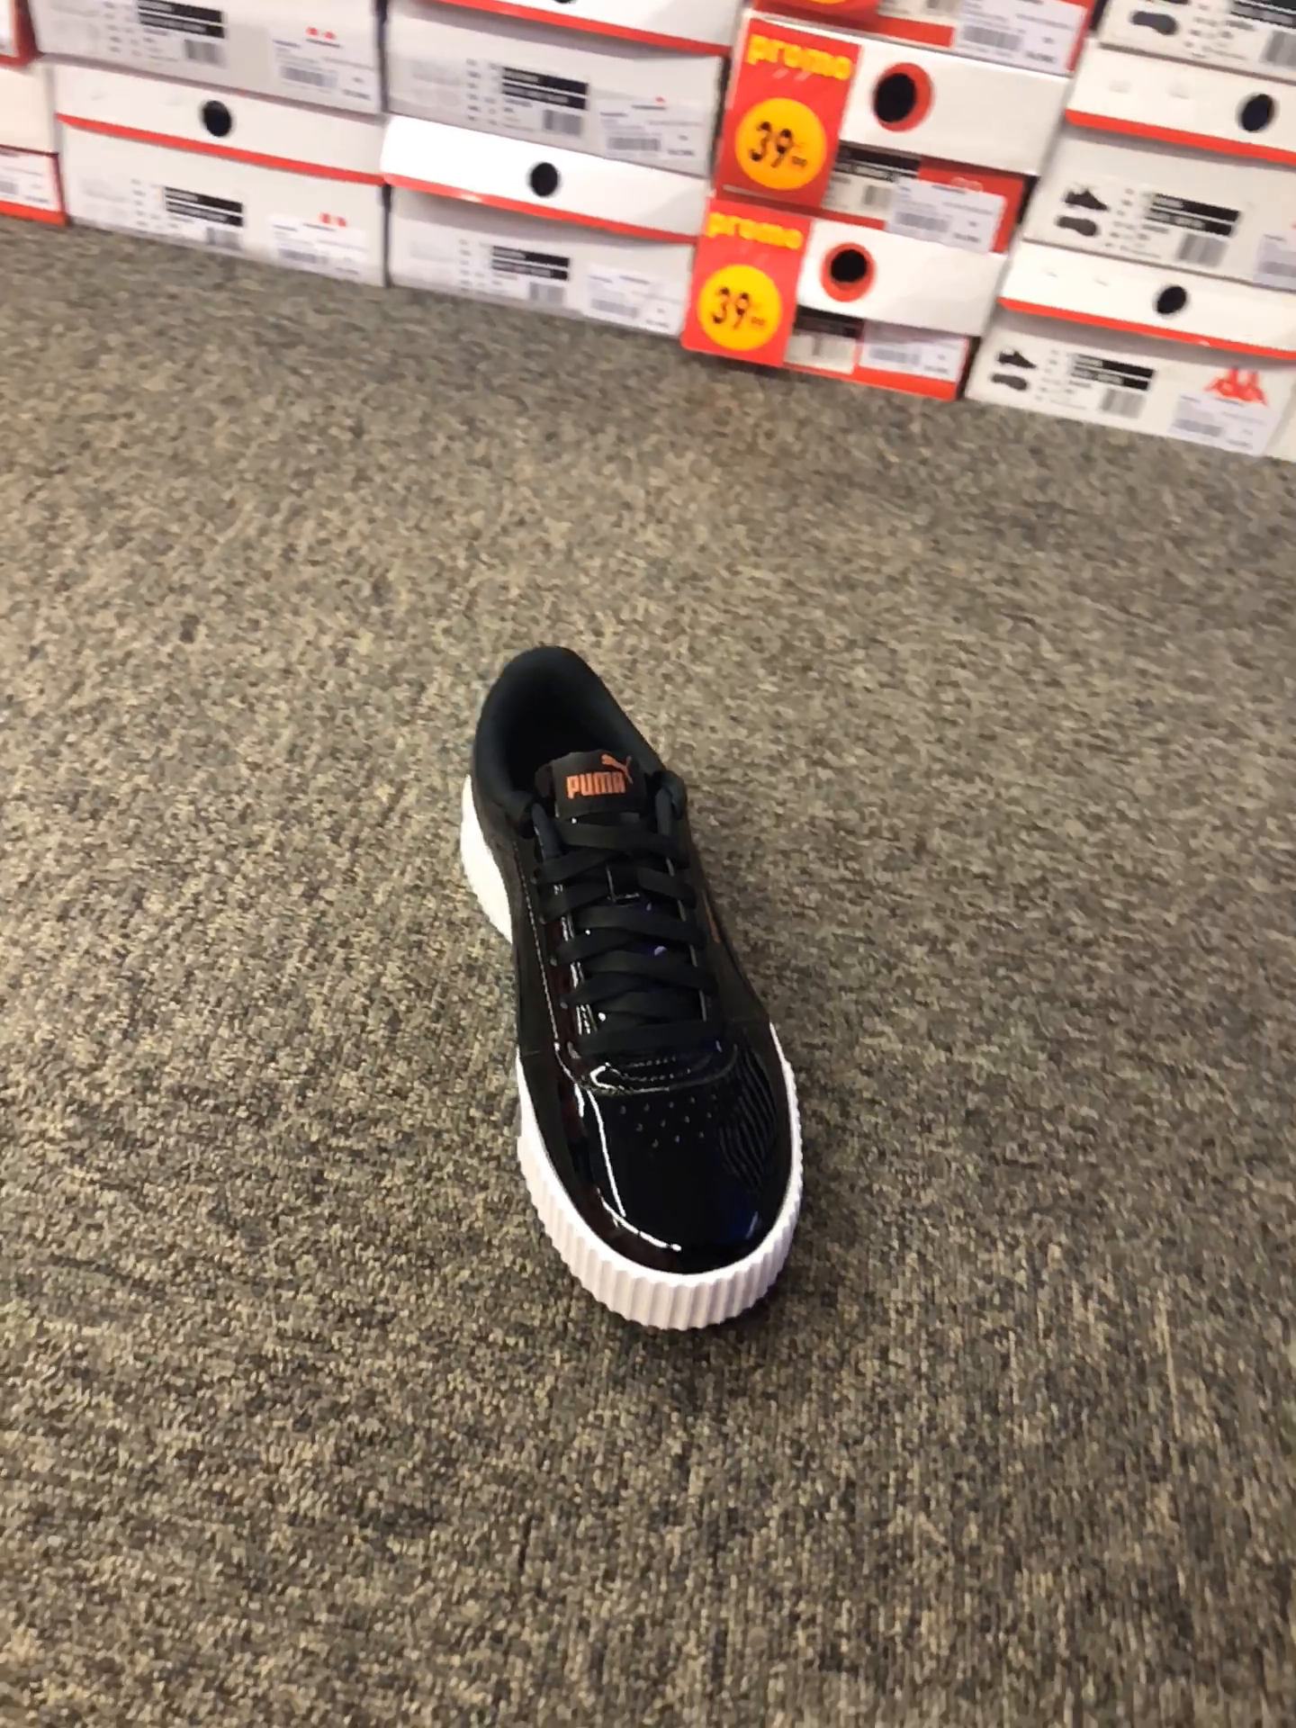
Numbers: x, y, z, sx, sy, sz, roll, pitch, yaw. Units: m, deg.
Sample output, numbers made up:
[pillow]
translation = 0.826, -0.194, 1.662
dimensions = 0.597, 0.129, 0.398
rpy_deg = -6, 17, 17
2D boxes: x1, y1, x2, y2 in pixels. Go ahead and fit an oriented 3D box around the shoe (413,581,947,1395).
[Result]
[shoe]
translation = -0.008, 0.026, 0.493
dimensions = 0.100, 0.099, 0.261
rpy_deg = -7, 50, -17
